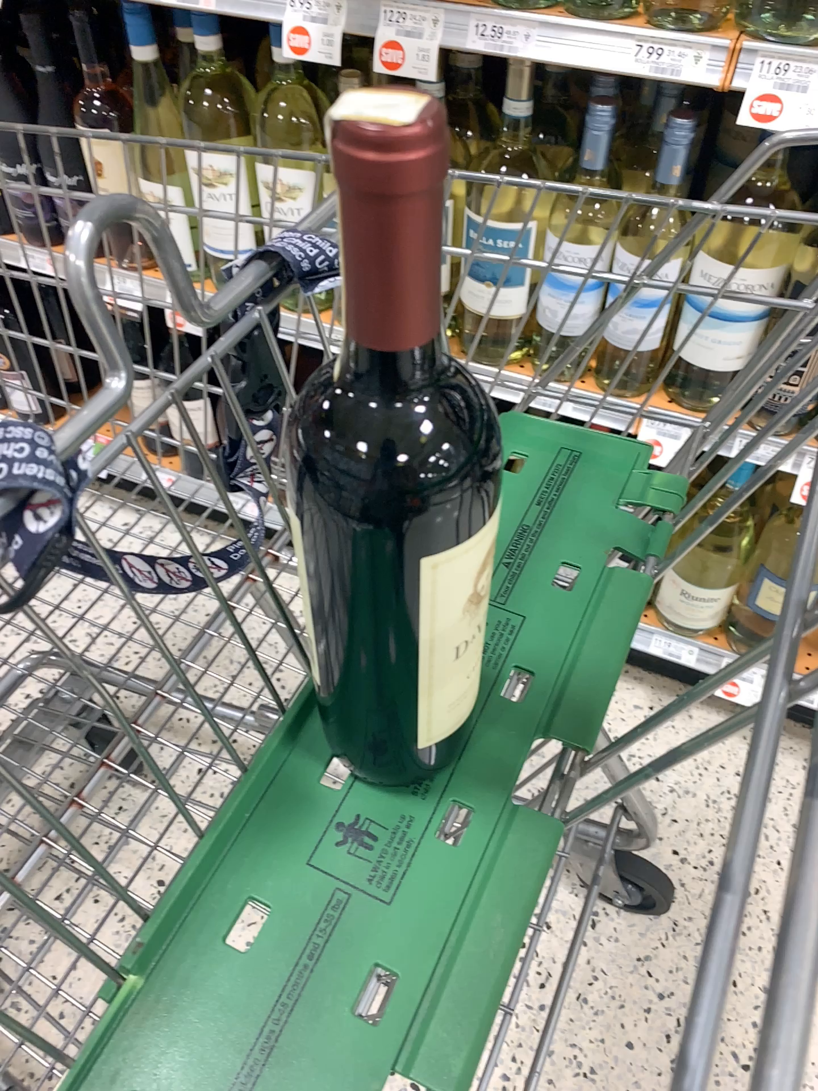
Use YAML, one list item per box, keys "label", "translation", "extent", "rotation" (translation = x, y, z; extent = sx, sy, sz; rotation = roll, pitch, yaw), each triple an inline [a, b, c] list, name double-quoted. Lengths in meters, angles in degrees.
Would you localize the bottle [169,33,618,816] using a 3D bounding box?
- label: "bottle"
  translation: [0.001, -0.013, 0.295]
  extent: [0.080, 0.267, 0.081]
  rotation: [0, 48, 0]
